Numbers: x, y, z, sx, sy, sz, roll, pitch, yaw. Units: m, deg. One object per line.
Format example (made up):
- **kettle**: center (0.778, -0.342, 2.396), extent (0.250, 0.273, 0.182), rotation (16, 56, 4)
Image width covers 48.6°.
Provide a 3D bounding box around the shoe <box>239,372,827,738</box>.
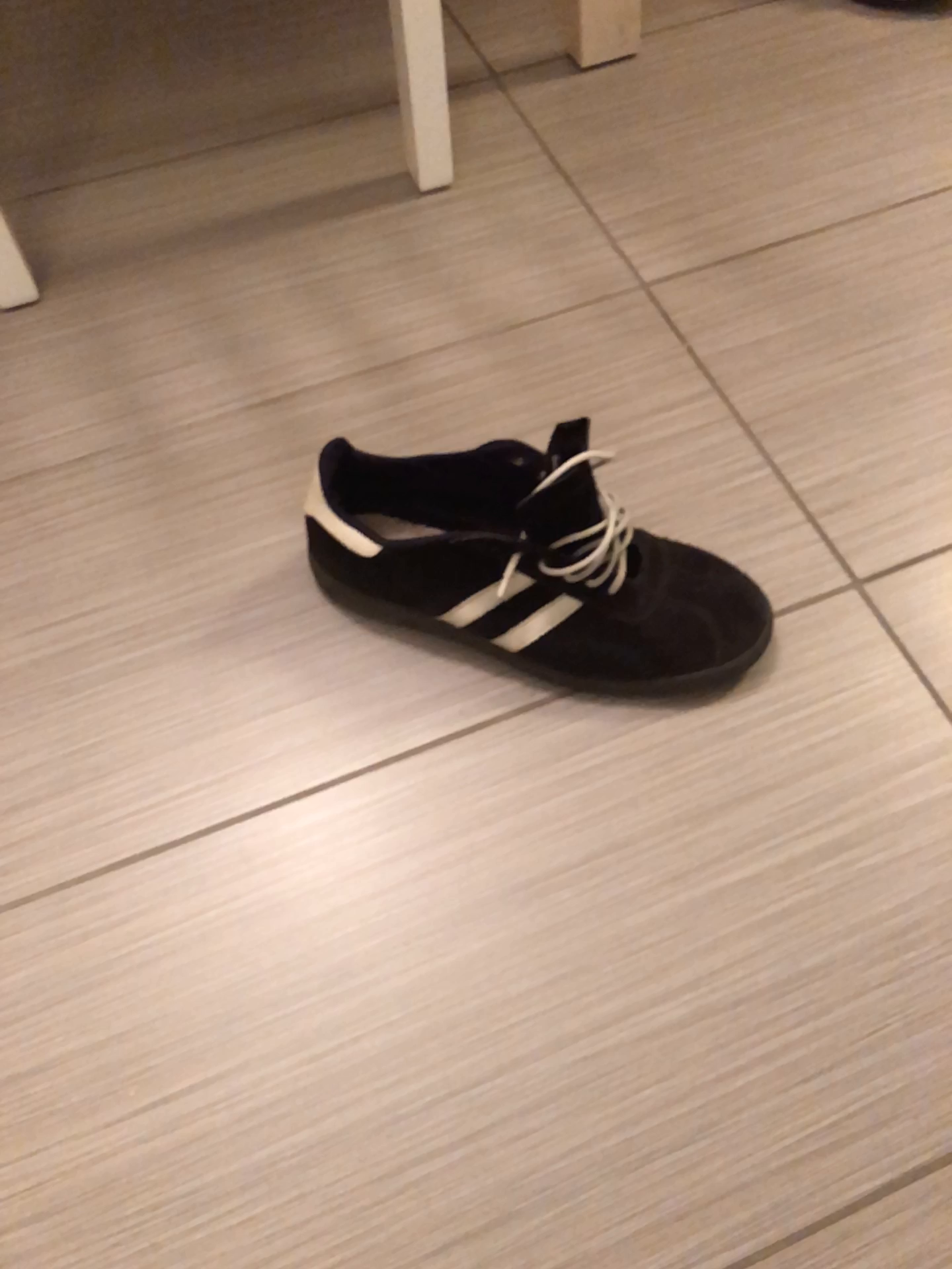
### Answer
- **shoe**: center (0.034, -0.048, 0.640), extent (0.310, 0.120, 0.110), rotation (13, 61, 10)
